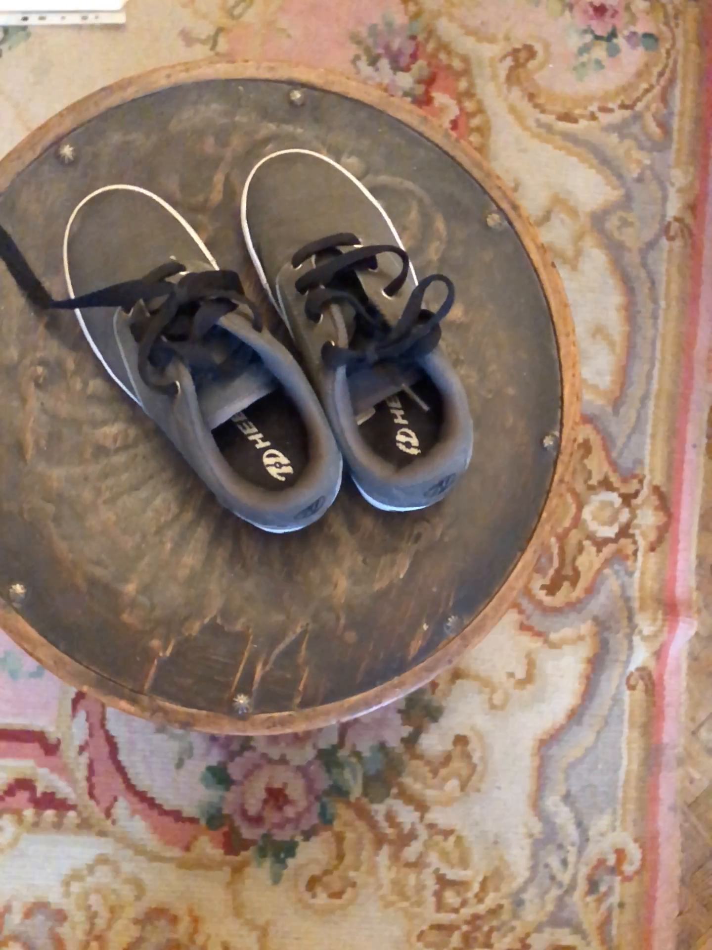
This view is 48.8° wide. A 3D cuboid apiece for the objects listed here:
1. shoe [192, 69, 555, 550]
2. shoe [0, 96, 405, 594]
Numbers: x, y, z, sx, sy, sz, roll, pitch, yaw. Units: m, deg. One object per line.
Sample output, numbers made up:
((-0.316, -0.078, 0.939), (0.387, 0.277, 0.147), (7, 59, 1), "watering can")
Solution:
((0.004, -0.077, 0.419), (0.090, 0.100, 0.211), (-26, 90, -7), "shoe")
((-0.080, -0.057, 0.402), (0.090, 0.100, 0.211), (-35, 91, -7), "shoe")
